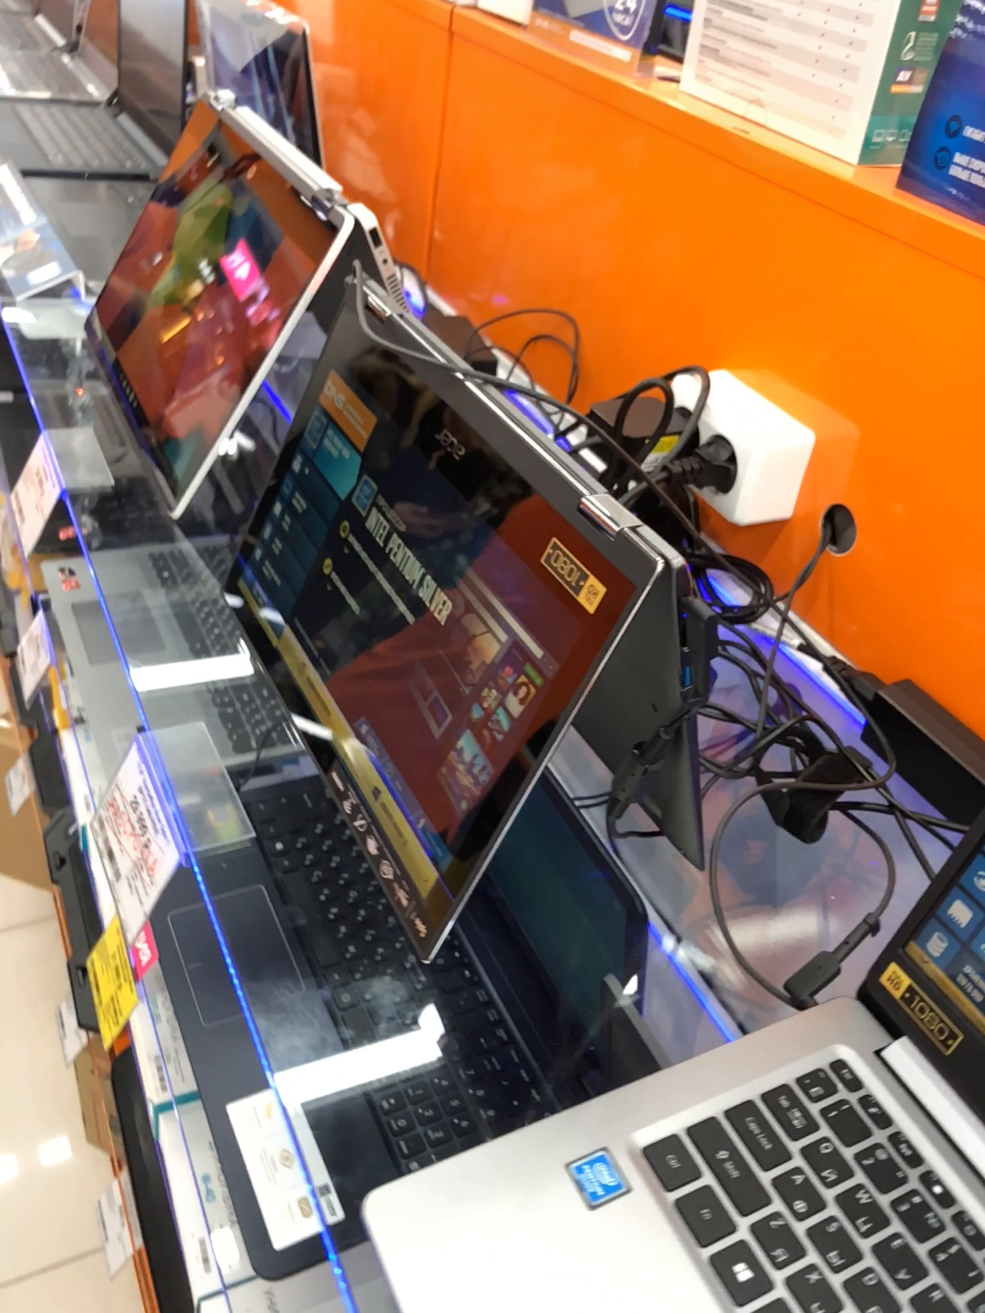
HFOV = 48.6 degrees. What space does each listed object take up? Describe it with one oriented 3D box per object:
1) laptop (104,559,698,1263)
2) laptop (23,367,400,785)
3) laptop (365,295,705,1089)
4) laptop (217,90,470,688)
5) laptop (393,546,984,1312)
[{"bbox_3d":[-0.090,0.134,0.729,0.239,0.222,0.362,-10,40,-26],"label":"laptop"},{"bbox_3d":[-0.275,-0.094,1.012,0.223,0.202,0.364,-12,40,-23],"label":"laptop"},{"bbox_3d":[0.011,0.028,0.605,0.181,0.142,0.278,33,15,-42],"label":"laptop"},{"bbox_3d":[-0.127,-0.207,0.873,0.182,0.148,0.300,28,18,-45],"label":"laptop"},{"bbox_3d":[0.183,0.177,0.246,0.272,0.209,0.351,-13,42,-27],"label":"laptop"}]
